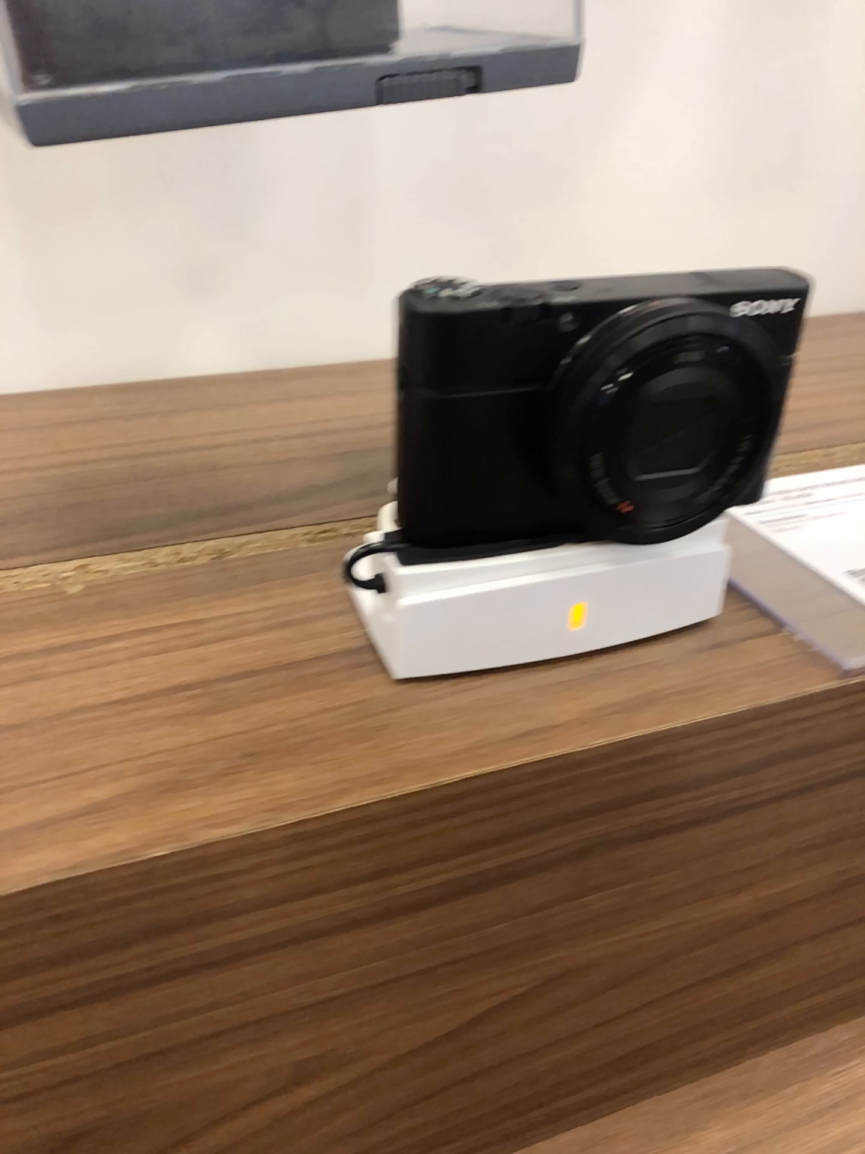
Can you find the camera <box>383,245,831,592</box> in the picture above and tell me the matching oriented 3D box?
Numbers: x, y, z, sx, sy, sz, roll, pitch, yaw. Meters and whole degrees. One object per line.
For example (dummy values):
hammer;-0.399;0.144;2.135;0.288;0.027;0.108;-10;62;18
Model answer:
camera;0.040;-0.041;0.242;0.100;0.070;0.030;-9;34;-17
